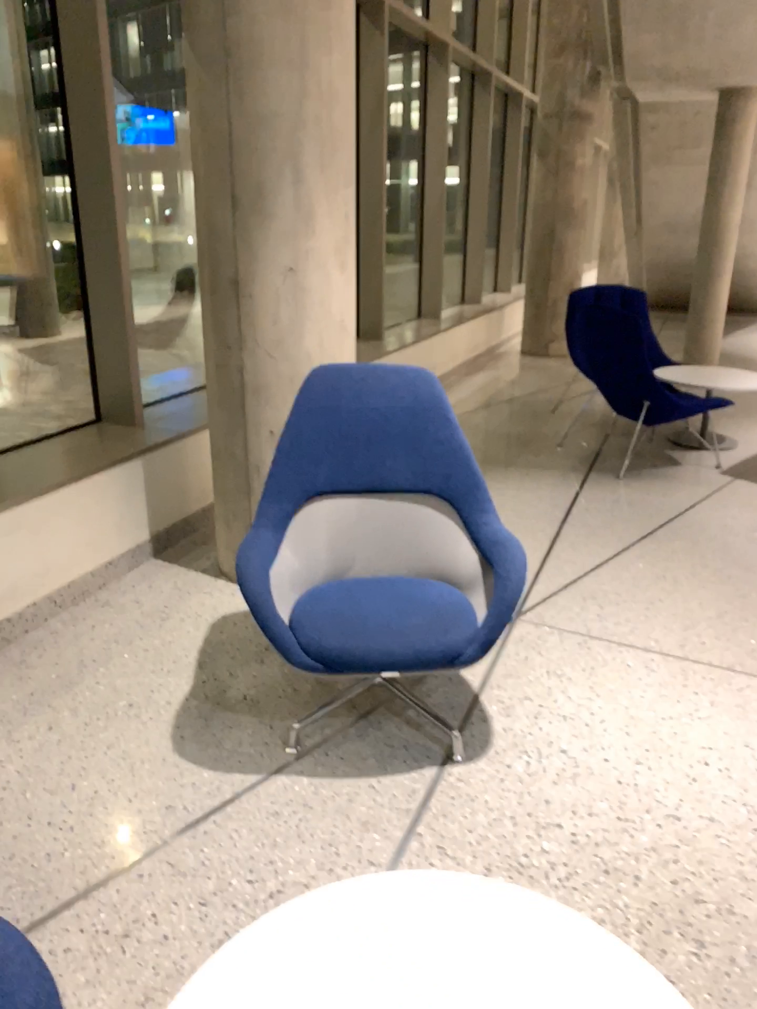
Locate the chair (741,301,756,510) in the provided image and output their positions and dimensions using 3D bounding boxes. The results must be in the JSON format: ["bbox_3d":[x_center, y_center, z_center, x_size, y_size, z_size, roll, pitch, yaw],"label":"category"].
[{"bbox_3d":[2.679,-0.608,4.345,0.886,0.918,0.784,-17,26,-41],"label":"chair"}]

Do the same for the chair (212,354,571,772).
[{"bbox_3d":[0.011,0.127,2.223,0.814,0.998,0.635,0,19,-3],"label":"chair"}]
